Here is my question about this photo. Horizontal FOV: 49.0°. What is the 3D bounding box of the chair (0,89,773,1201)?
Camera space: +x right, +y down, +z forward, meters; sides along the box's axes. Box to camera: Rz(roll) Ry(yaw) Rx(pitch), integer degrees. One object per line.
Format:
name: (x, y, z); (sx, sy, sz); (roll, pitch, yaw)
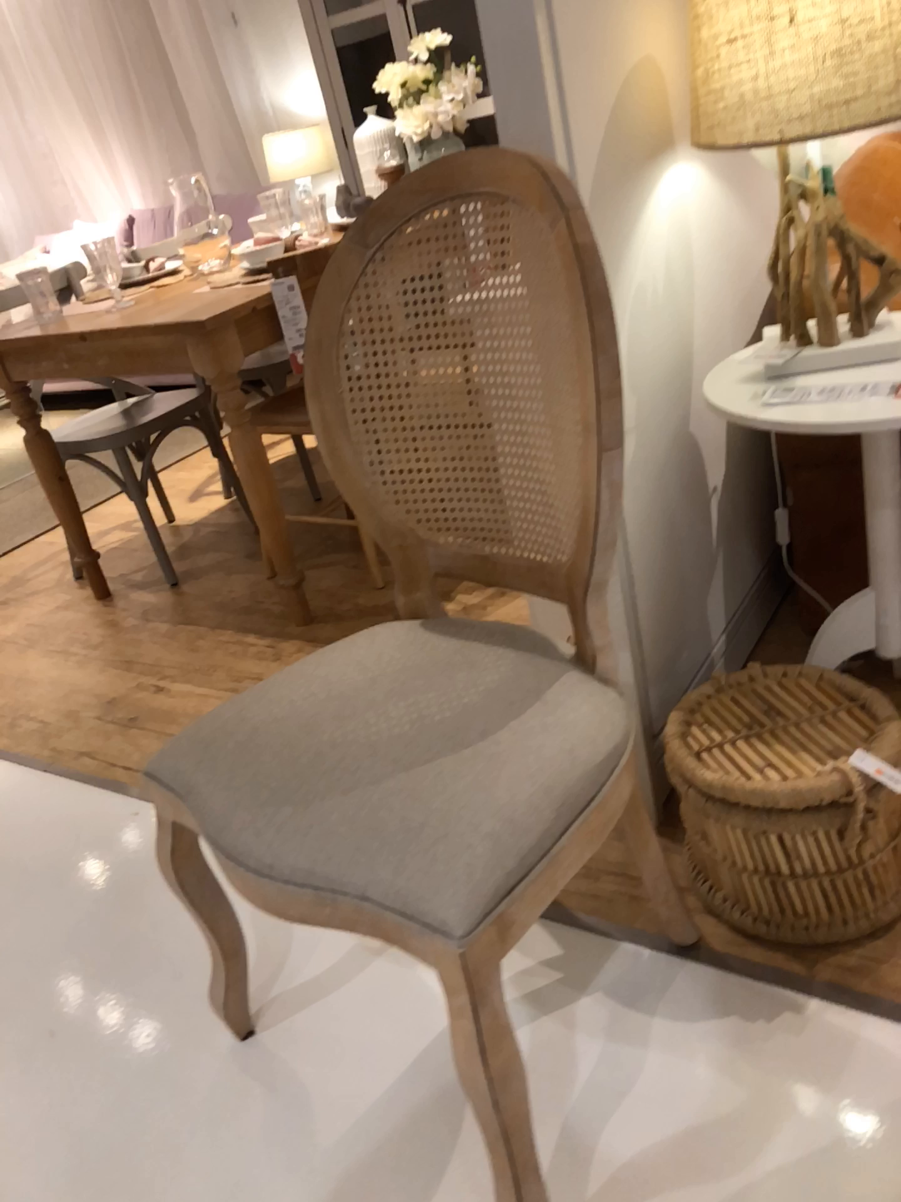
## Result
chair: (-0.084, 0.072, 1.065); (0.592, 0.963, 0.522); (12, 36, 42)
